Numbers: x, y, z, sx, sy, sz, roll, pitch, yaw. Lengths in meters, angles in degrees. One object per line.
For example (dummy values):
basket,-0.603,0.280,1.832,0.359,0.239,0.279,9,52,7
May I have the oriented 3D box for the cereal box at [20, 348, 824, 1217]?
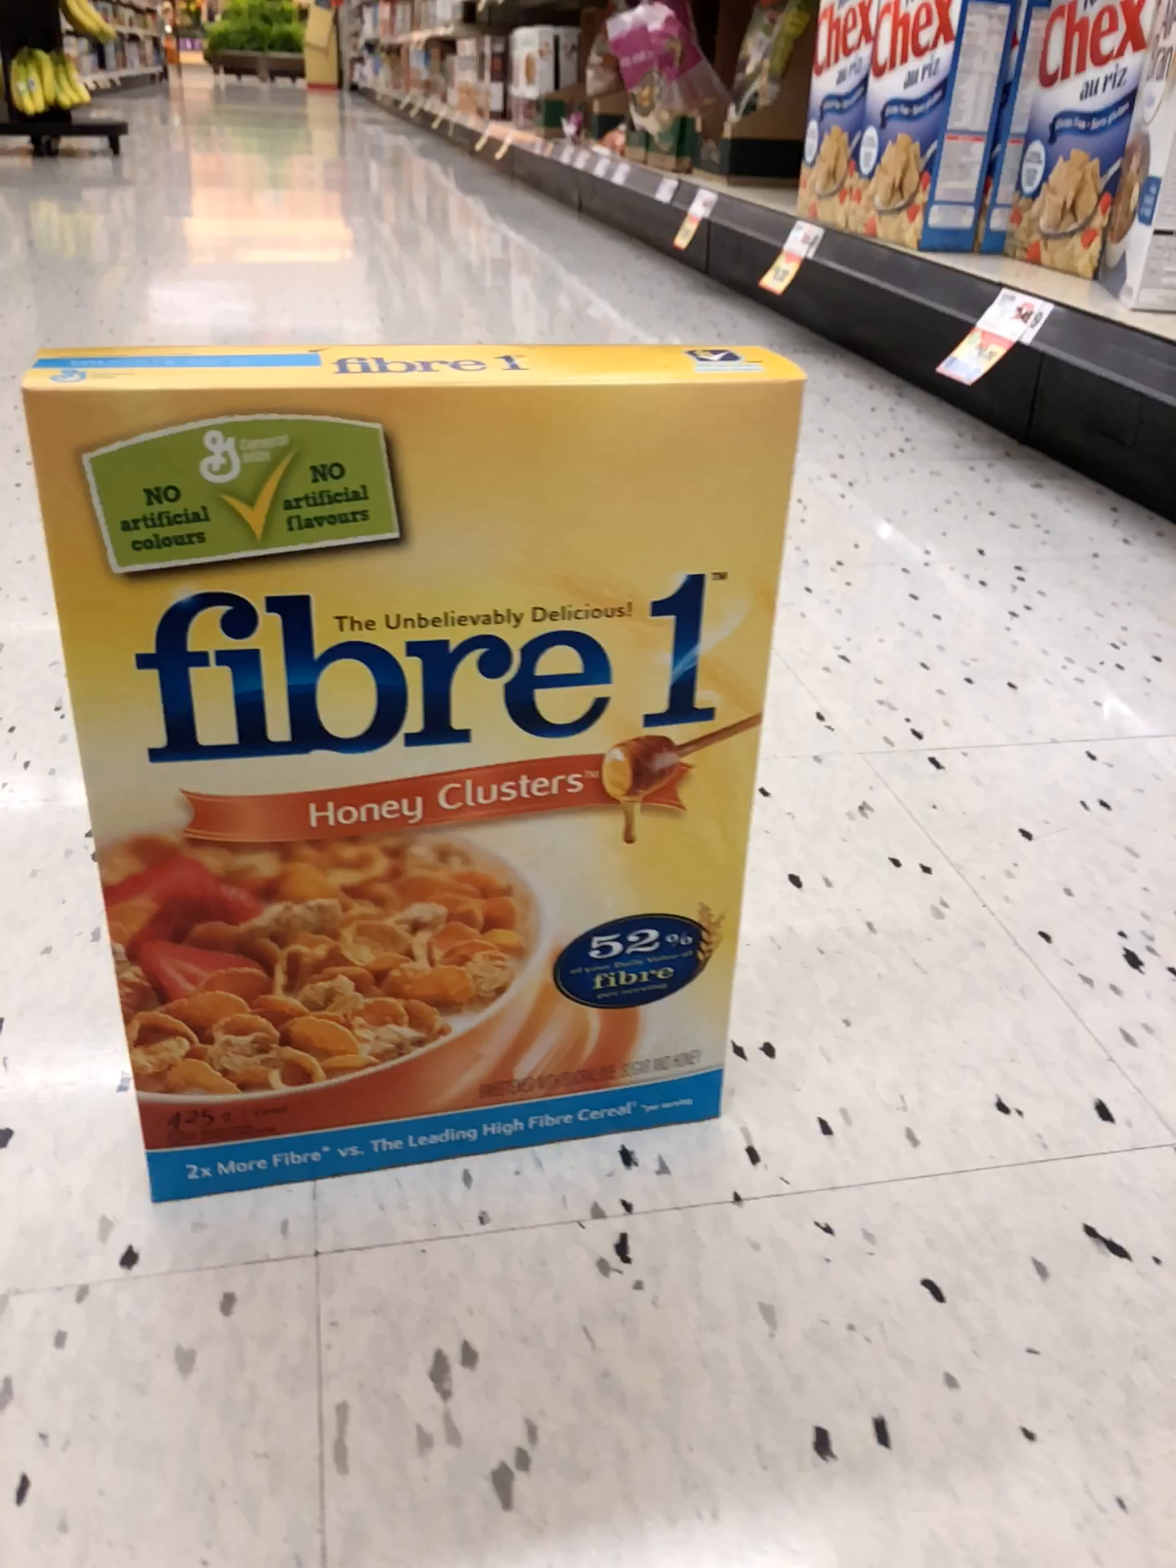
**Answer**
cereal box,-0.044,0.004,0.385,0.190,0.249,0.050,-5,29,-14
